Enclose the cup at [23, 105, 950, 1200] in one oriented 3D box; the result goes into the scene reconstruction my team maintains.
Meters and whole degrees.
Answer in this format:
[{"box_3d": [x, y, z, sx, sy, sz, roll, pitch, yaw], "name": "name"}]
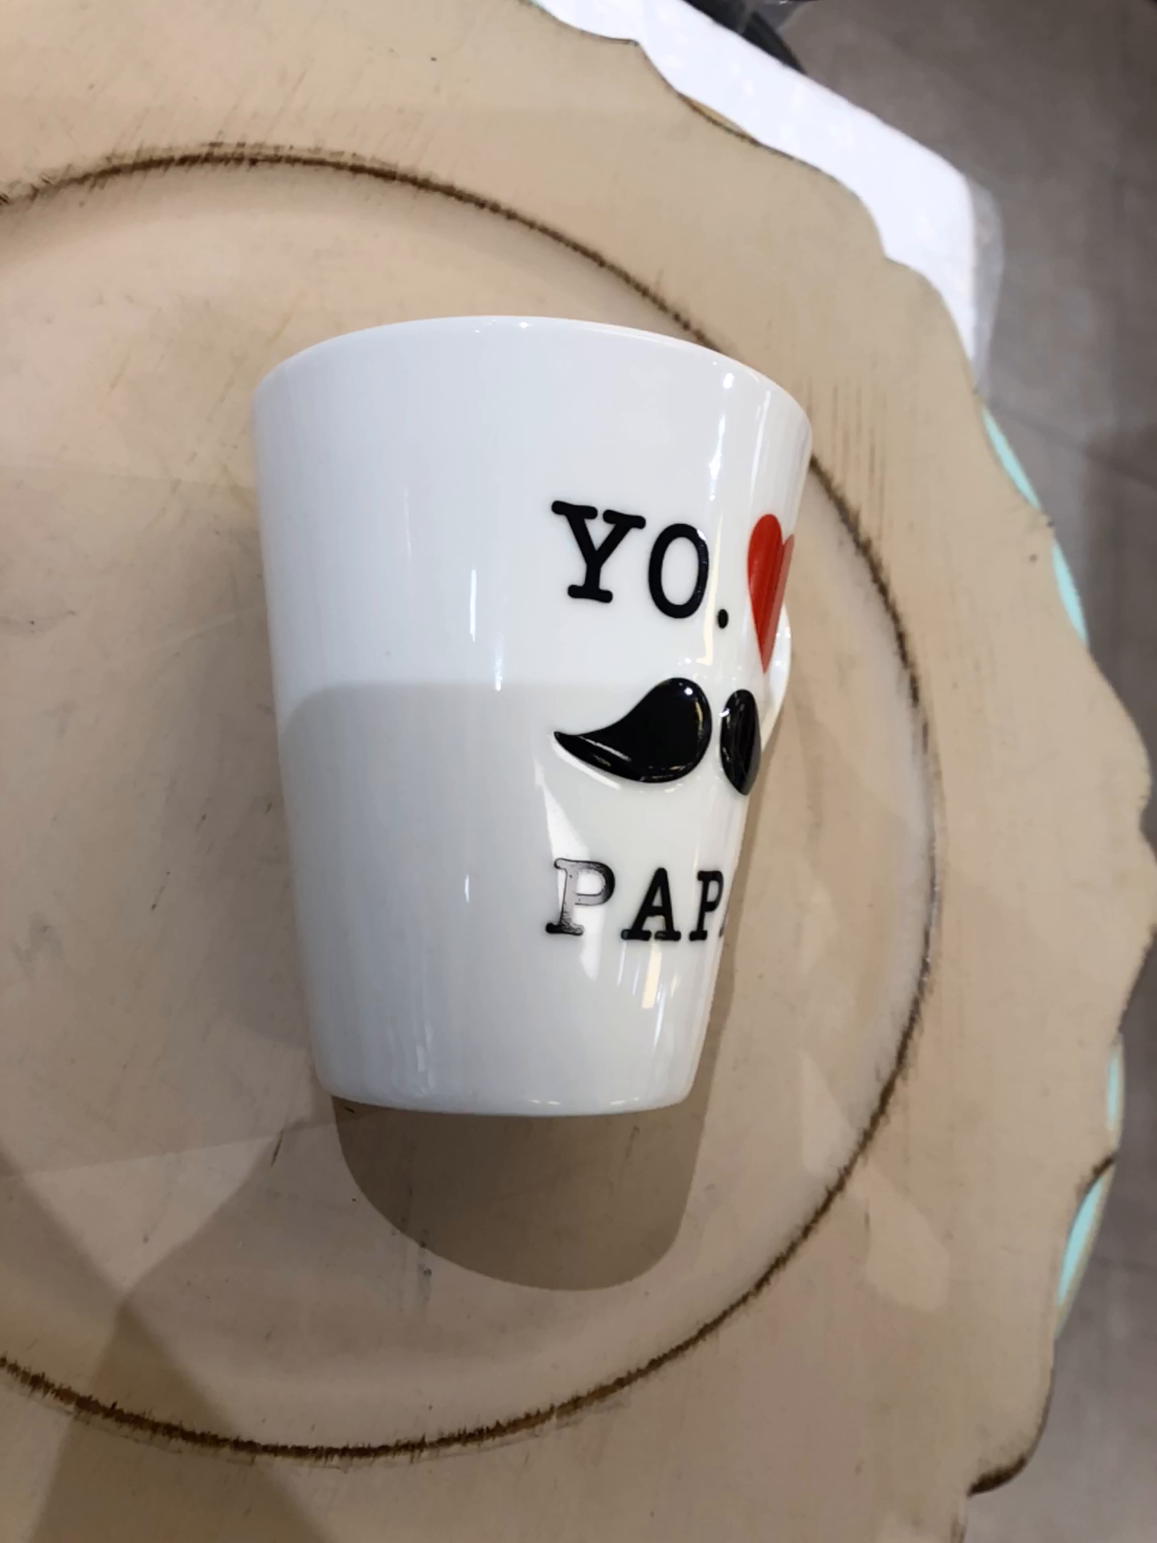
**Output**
[{"box_3d": [-0.009, -0.009, 0.211, 0.110, 0.090, 0.120, 0, 90, -49], "name": "cup"}]
